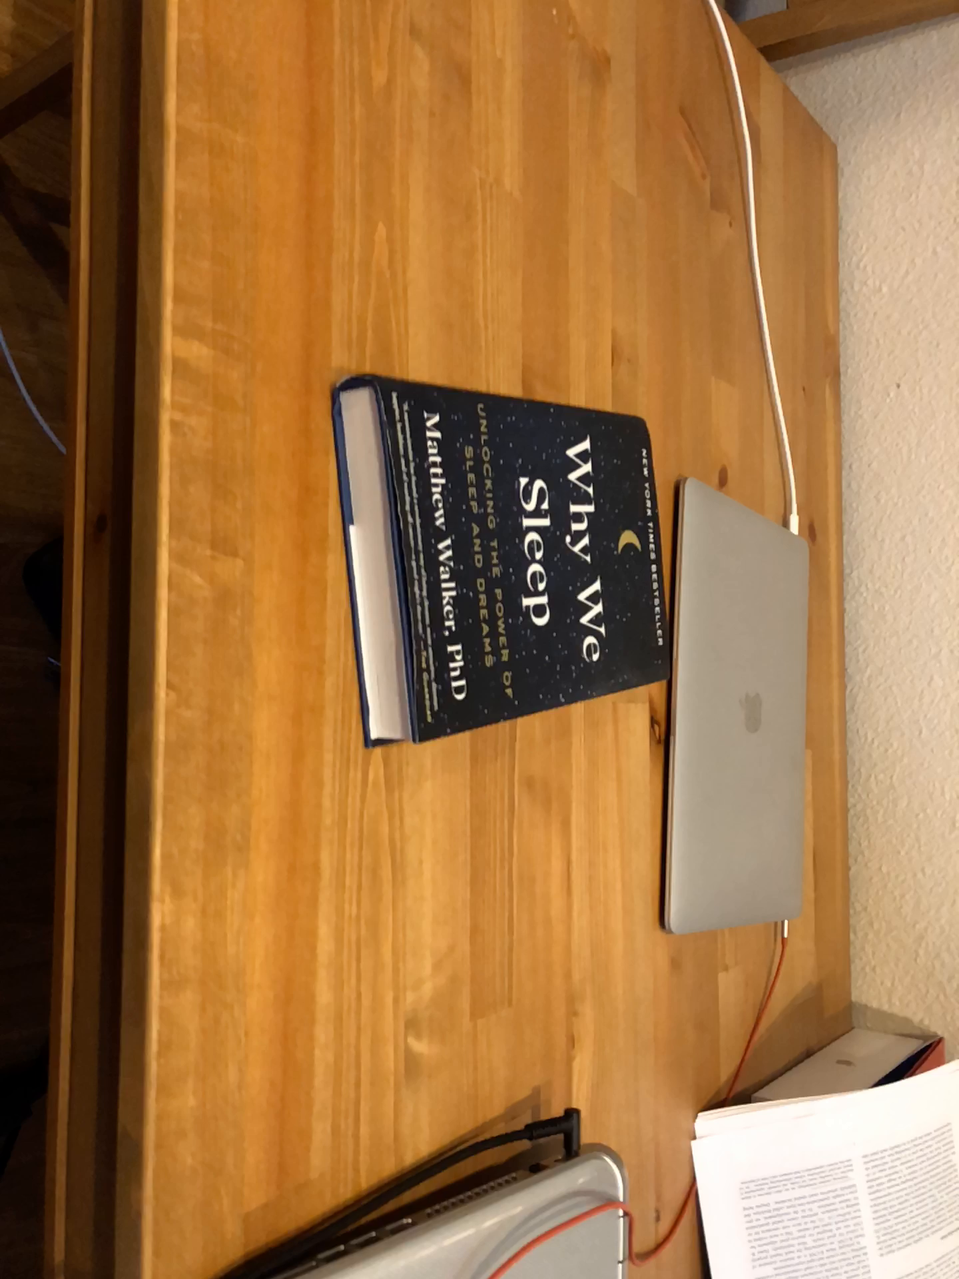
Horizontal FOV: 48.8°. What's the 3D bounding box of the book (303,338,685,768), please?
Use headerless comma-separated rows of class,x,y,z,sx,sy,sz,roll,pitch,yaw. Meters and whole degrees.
book,0.023,-0.044,0.526,0.241,0.040,0.170,-9,95,-53
